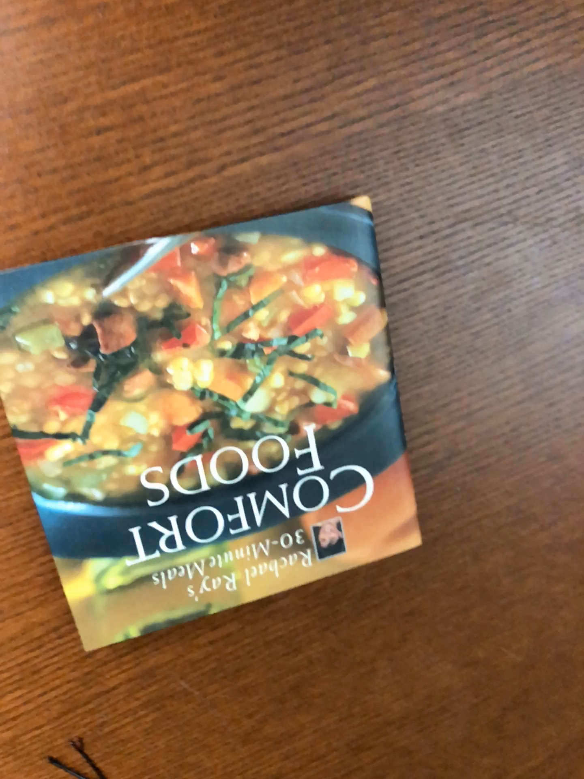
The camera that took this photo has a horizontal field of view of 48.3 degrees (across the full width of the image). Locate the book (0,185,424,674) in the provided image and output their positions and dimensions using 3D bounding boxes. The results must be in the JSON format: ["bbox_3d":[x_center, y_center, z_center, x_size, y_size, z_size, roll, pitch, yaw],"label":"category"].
[{"bbox_3d":[-0.043,0.020,0.340,0.200,0.030,0.210,-14,106,-11],"label":"book"}]
